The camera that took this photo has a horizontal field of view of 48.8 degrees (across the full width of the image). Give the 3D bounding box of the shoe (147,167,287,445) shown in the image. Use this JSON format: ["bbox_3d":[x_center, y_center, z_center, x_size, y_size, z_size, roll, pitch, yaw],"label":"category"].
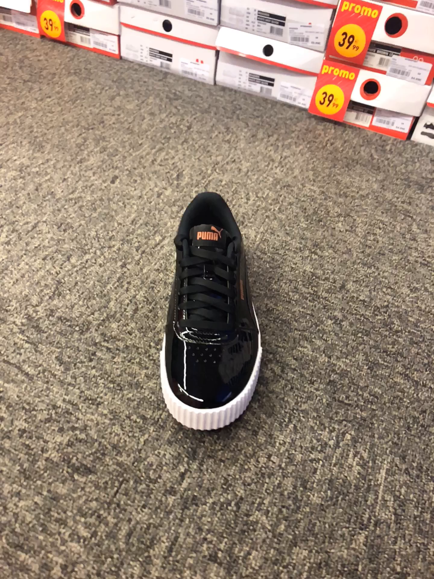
[{"bbox_3d":[-0.005,0.003,0.464,0.100,0.099,0.261,3,48,-4],"label":"shoe"}]
